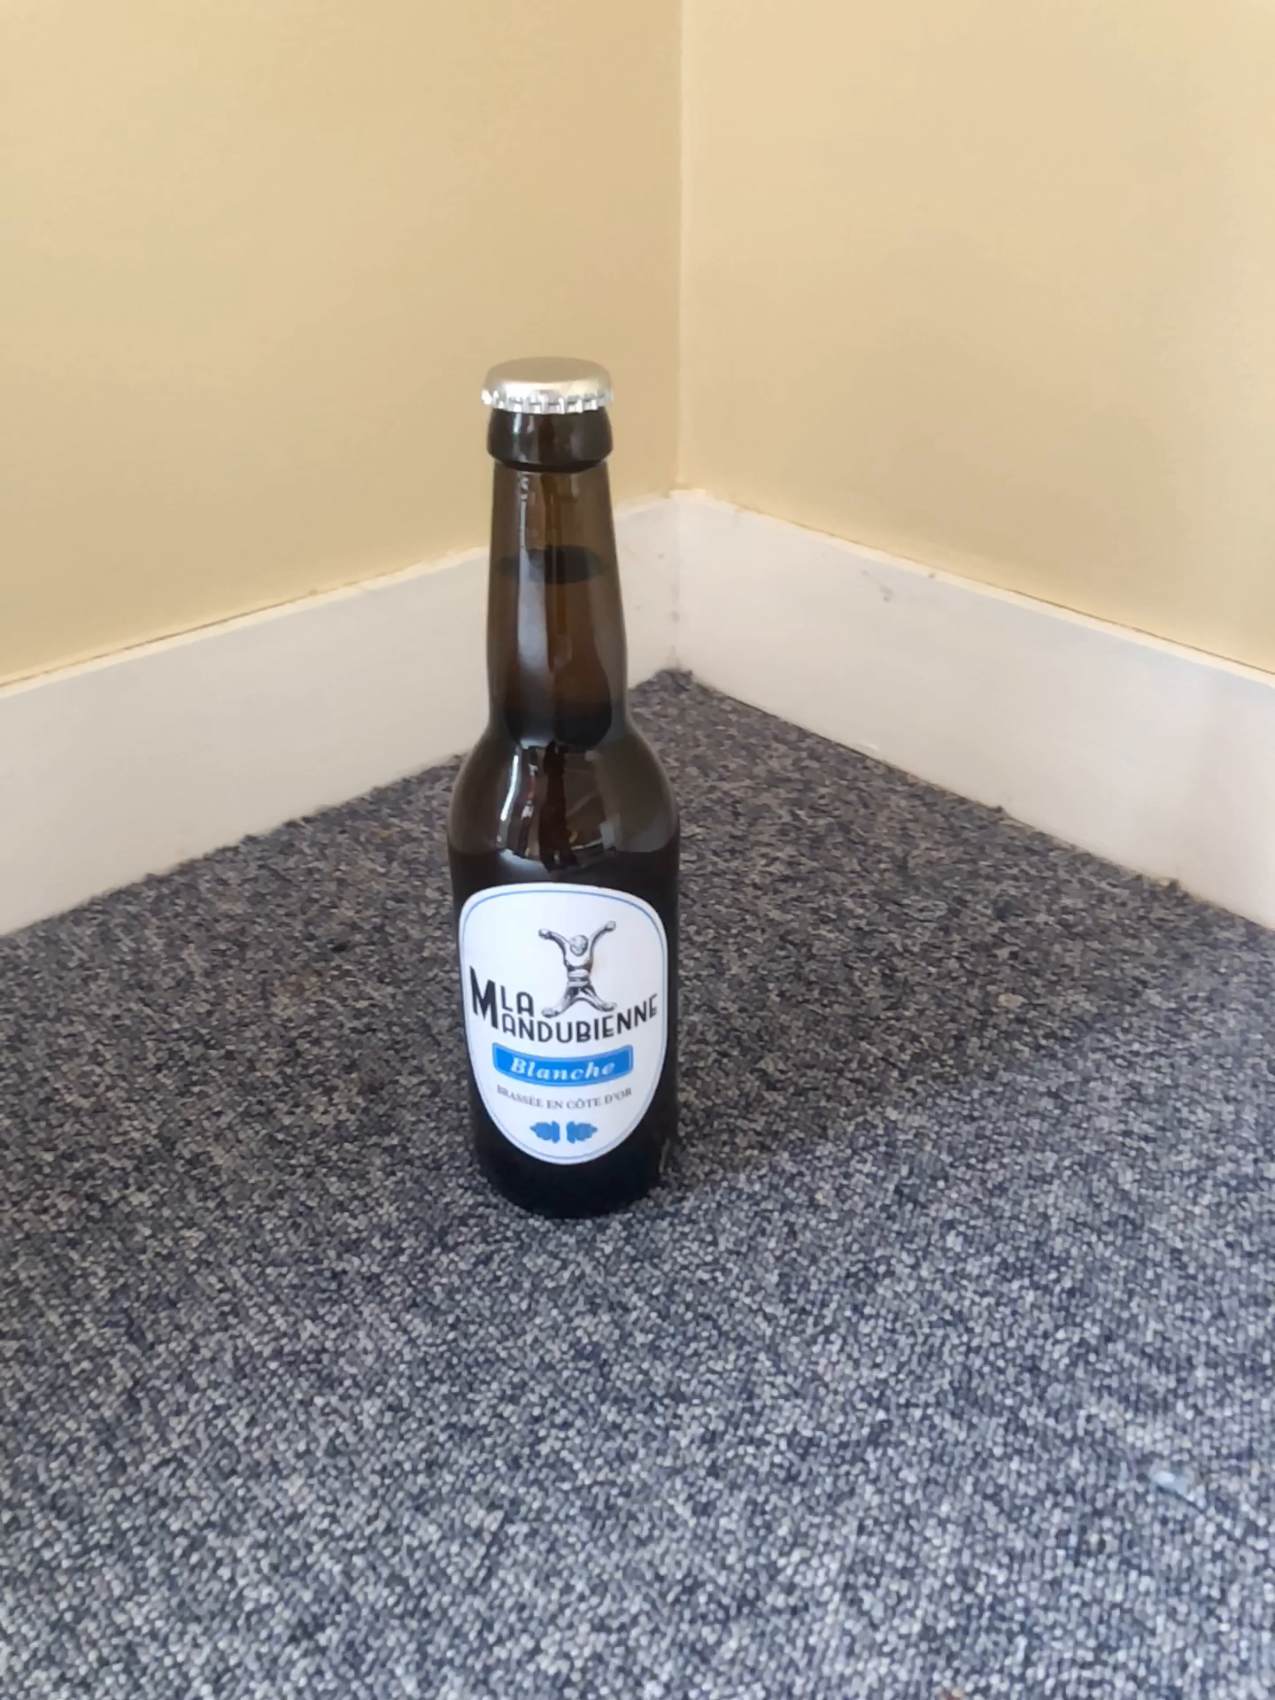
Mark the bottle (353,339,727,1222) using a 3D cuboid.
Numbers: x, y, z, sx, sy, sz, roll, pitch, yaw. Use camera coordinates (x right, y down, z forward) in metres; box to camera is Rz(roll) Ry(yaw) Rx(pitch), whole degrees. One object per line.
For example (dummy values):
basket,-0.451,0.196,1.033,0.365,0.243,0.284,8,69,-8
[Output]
bottle,-0.017,-0.010,0.347,0.070,0.209,0.070,0,31,0
